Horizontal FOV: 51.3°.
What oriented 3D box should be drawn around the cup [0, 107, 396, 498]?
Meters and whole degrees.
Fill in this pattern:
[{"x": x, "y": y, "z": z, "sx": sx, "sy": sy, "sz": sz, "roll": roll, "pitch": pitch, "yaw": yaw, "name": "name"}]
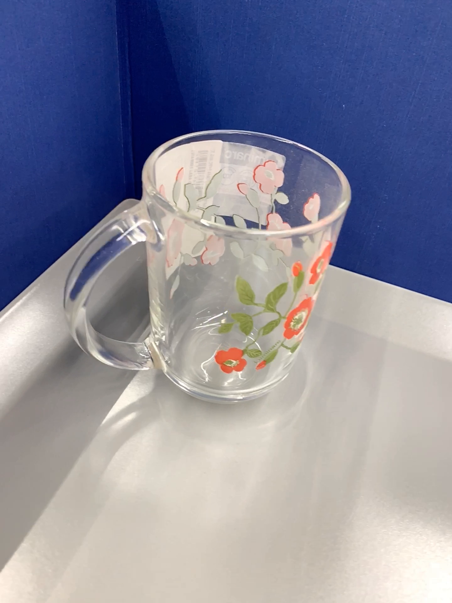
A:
[{"x": -0.018, "y": -0.007, "z": 0.196, "sx": 0.115, "sy": 0.104, "sz": 0.088, "roll": -18, "pitch": 47, "yaw": -27, "name": "cup"}]
